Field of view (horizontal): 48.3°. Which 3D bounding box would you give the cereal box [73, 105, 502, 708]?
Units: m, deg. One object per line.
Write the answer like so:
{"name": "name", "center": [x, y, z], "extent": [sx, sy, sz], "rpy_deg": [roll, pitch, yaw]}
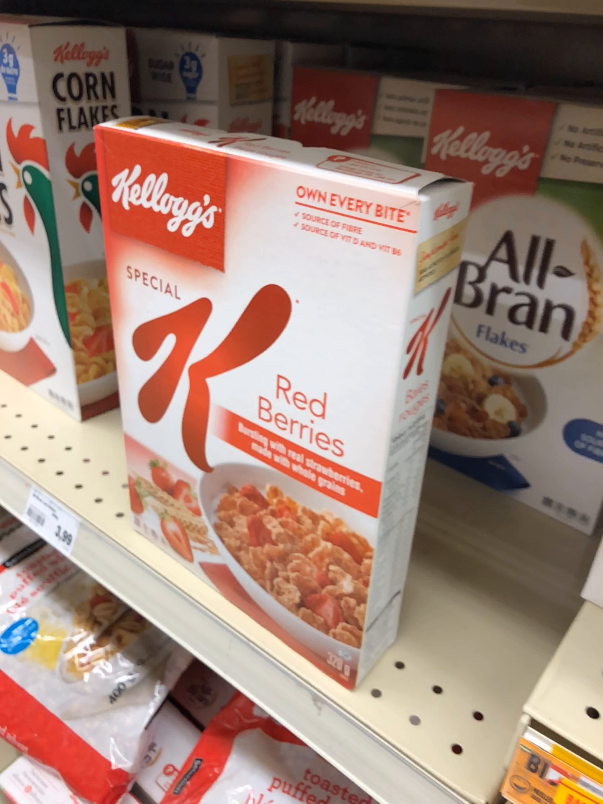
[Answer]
{"name": "cereal box", "center": [-0.024, -0.001, 0.378], "extent": [0.211, 0.278, 0.060], "rpy_deg": [26, 37, 34]}
